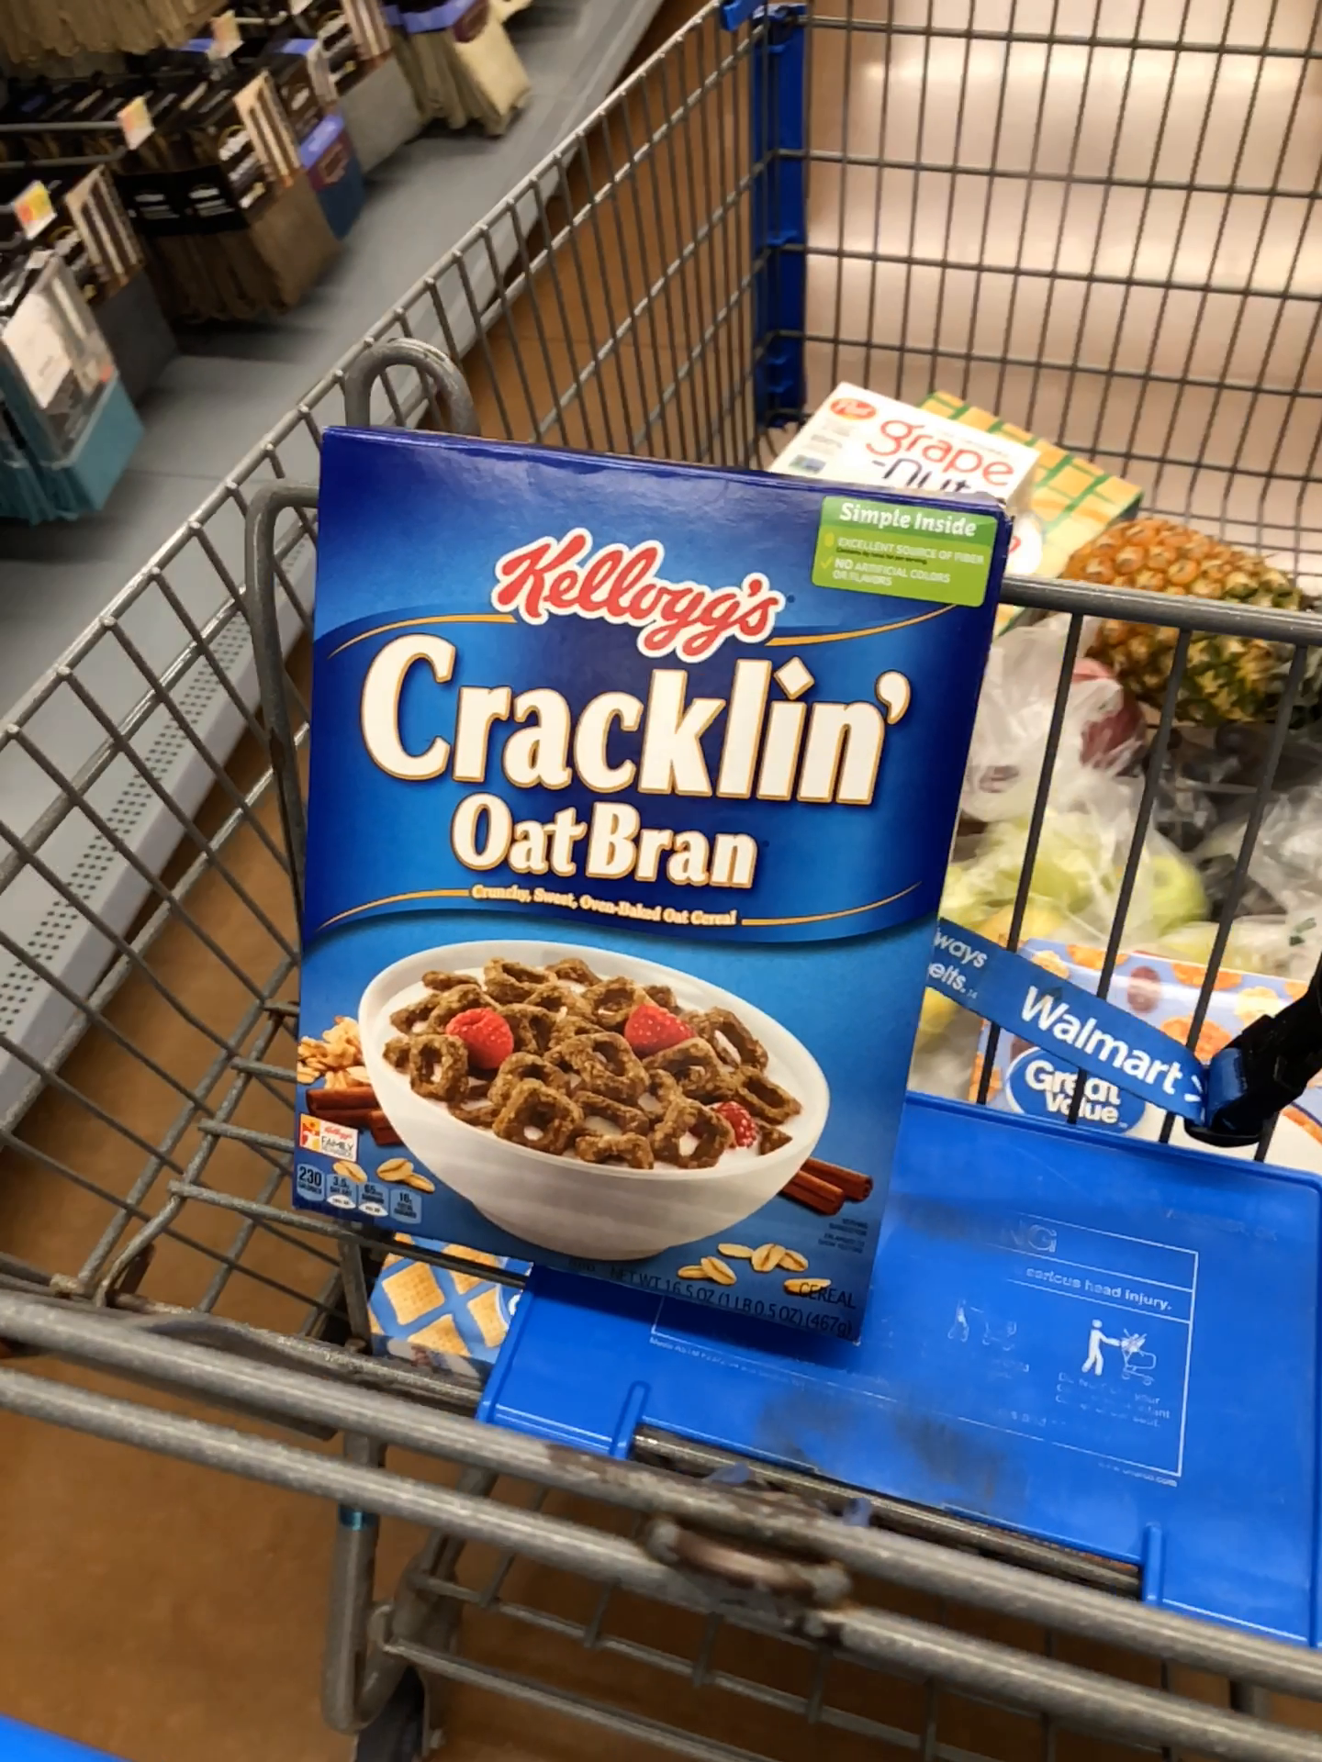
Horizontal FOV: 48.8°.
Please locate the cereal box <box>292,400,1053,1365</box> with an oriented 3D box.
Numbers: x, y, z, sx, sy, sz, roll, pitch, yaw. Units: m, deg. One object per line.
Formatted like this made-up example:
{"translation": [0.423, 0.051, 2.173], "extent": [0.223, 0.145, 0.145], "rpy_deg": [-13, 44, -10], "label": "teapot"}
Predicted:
{"translation": [-0.006, 0.000, 0.447], "extent": [0.200, 0.260, 0.050], "rpy_deg": [10, 17, 12], "label": "cereal box"}
